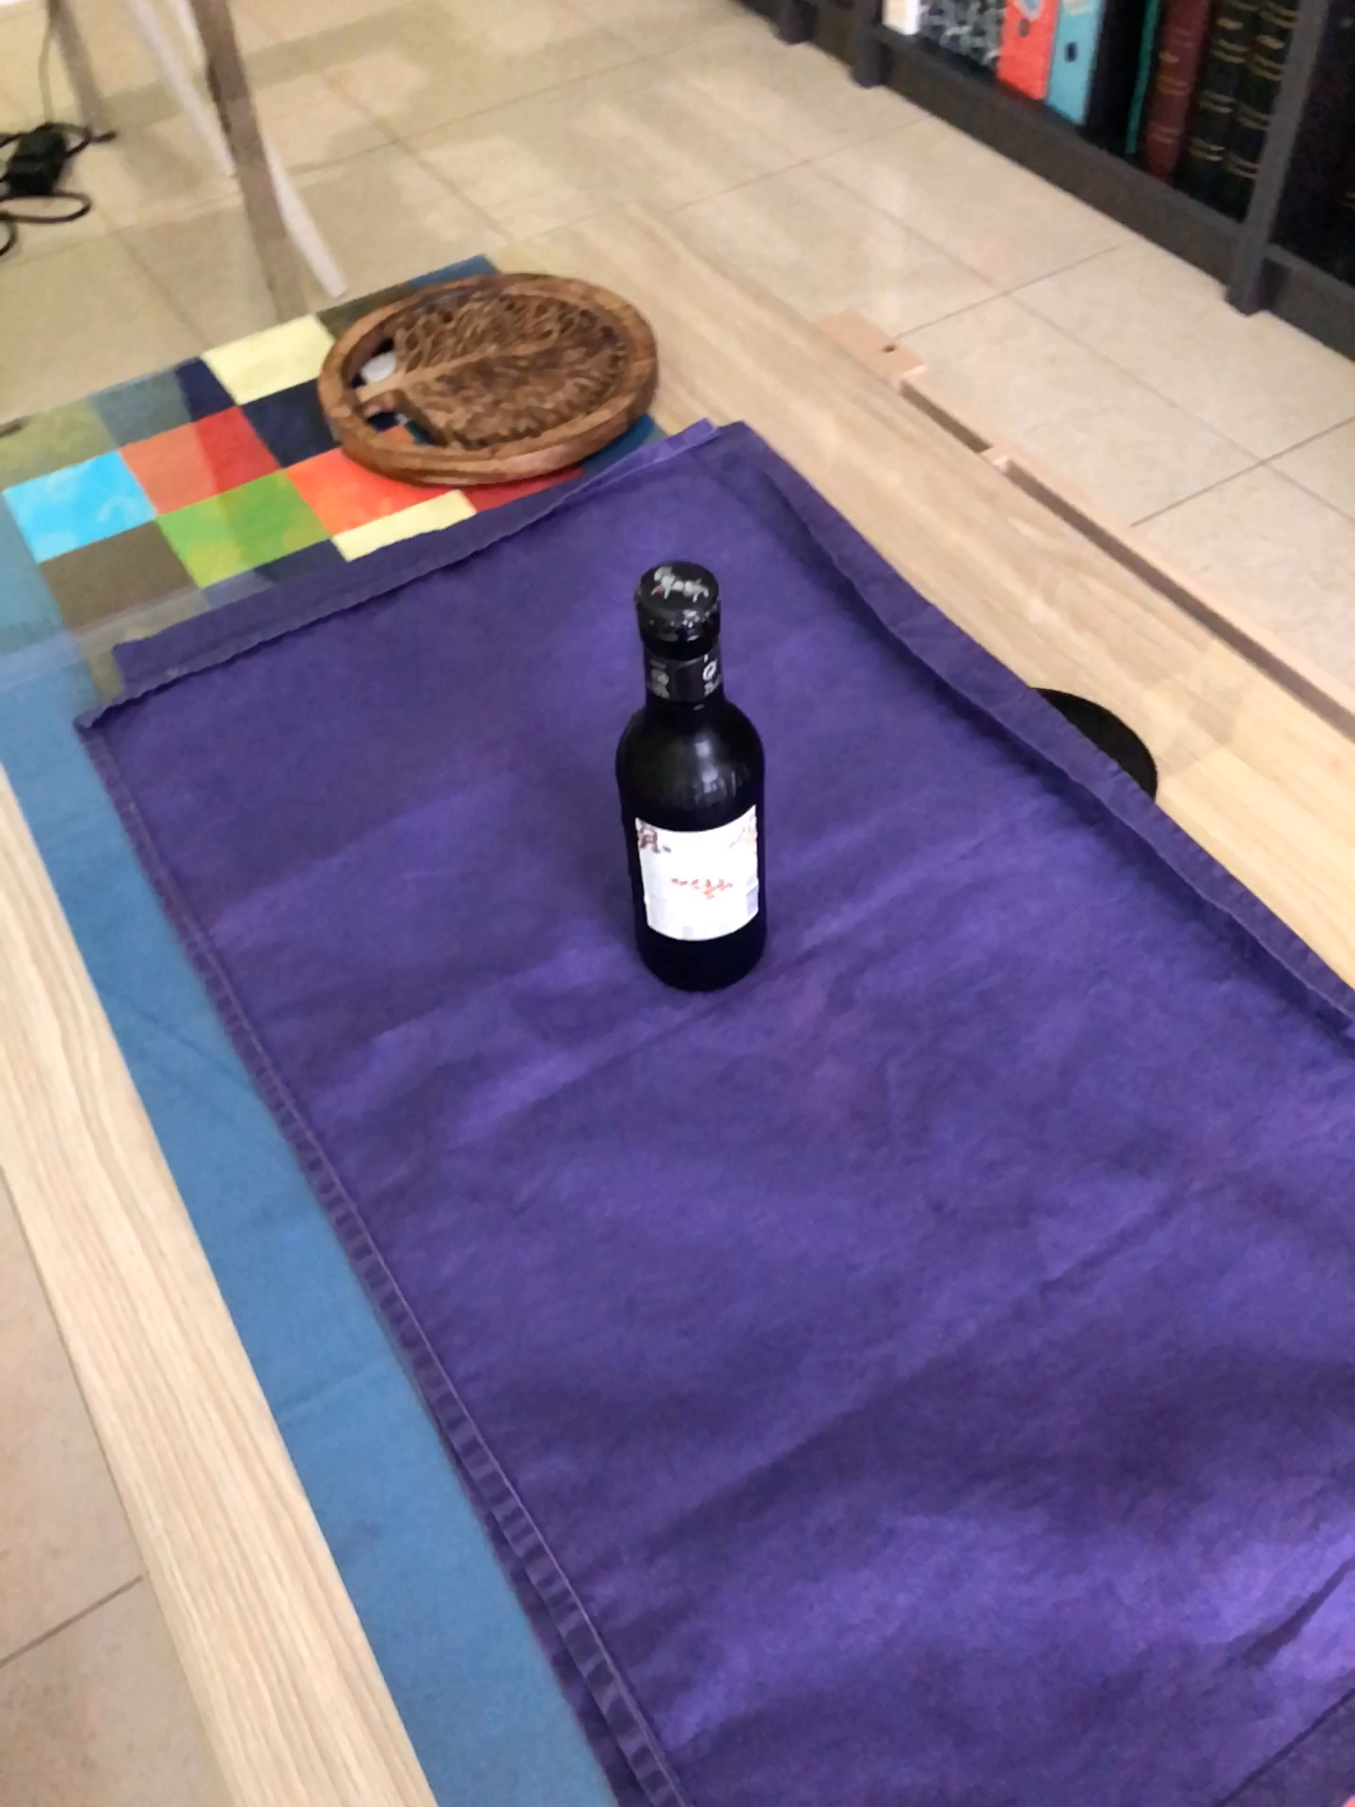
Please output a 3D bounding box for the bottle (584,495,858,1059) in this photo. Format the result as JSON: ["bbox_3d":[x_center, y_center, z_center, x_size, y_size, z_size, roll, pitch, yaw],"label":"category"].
[{"bbox_3d":[0.017,-0.035,0.529,0.070,0.199,0.070,-2,51,3],"label":"bottle"}]
